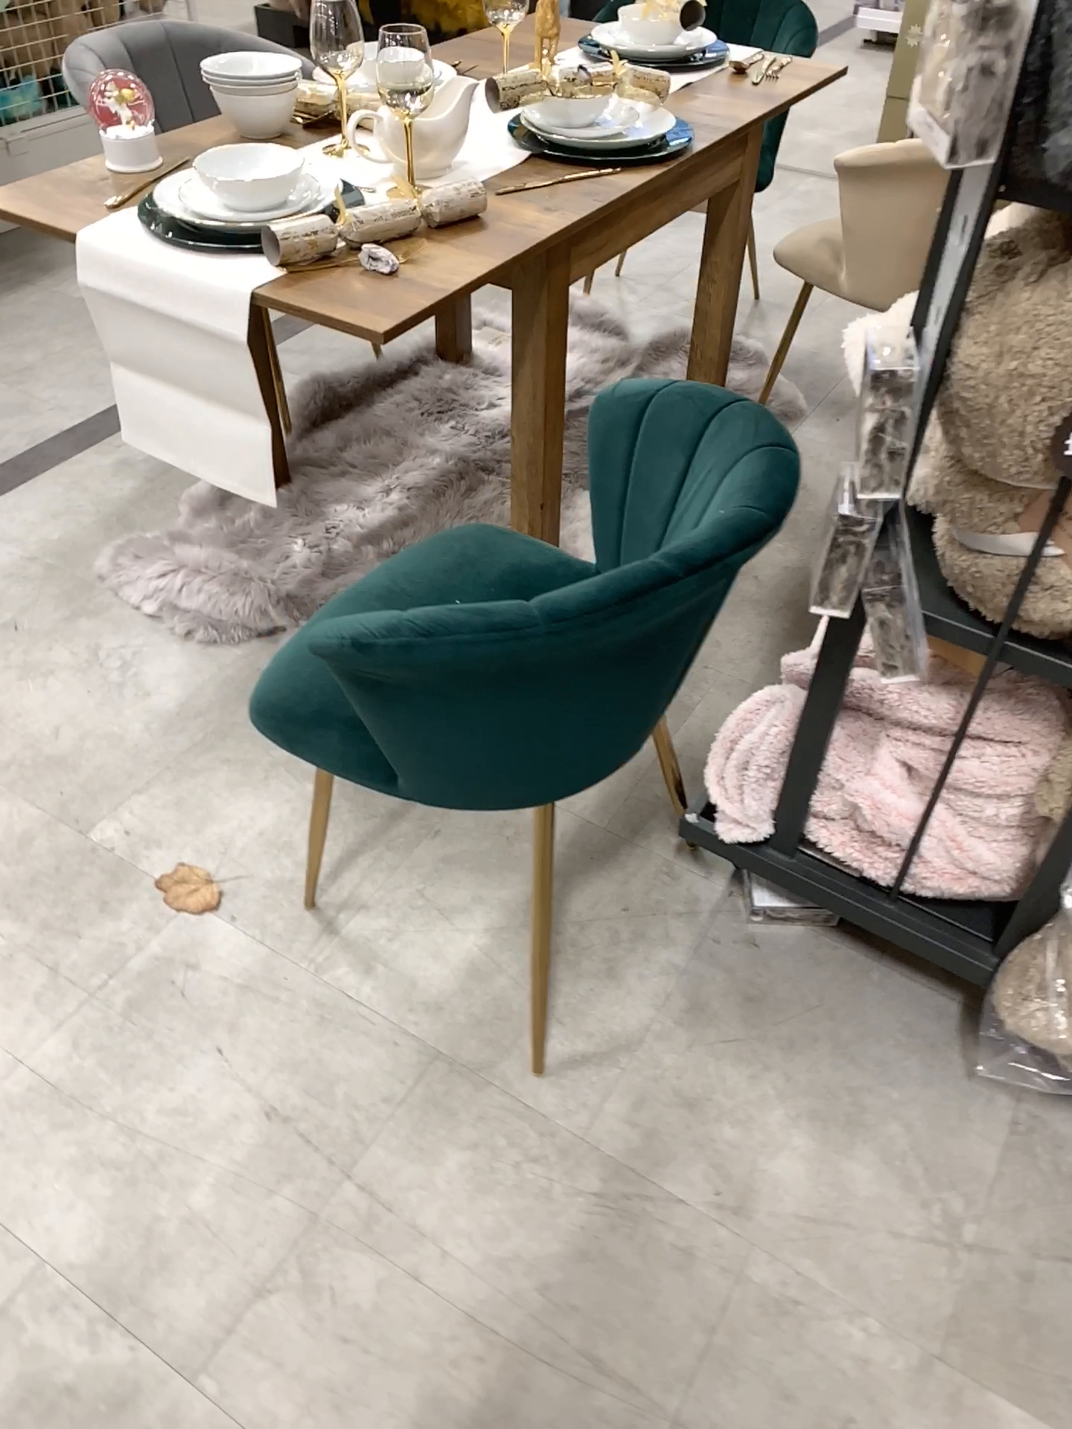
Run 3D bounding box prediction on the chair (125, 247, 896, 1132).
[{"bbox_3d":[-0.009,-0.036,1.300,0.526,0.754,0.543,26,49,25],"label":"chair"}]
